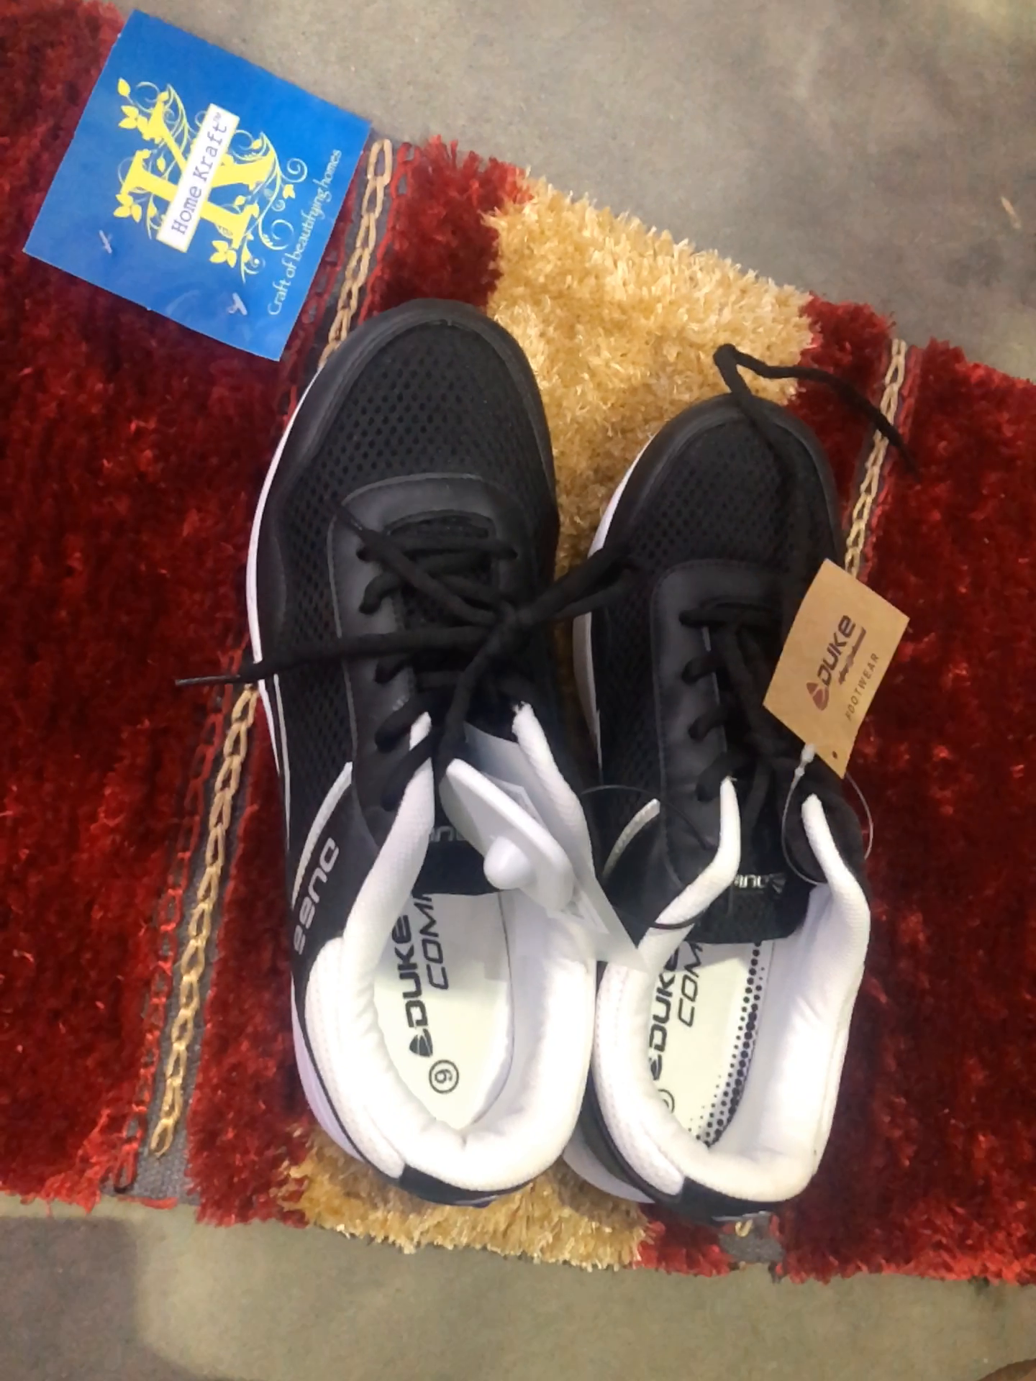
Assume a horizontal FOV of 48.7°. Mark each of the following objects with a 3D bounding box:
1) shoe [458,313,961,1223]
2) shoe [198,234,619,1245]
[{"bbox_3d":[0.060,0.026,0.365,0.110,0.070,0.250,10,83,-18],"label":"shoe"},{"bbox_3d":[-0.035,0.010,0.321,0.100,0.070,0.240,0,87,-19],"label":"shoe"}]
